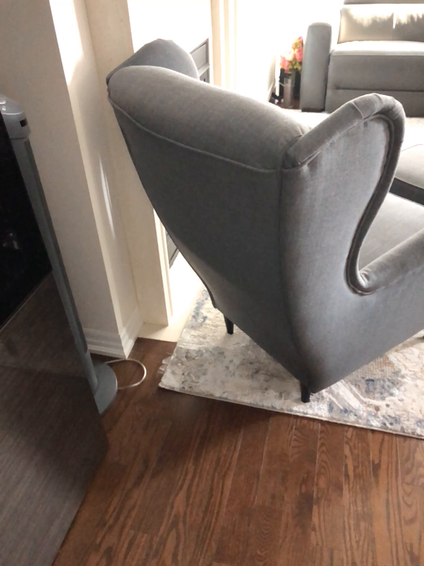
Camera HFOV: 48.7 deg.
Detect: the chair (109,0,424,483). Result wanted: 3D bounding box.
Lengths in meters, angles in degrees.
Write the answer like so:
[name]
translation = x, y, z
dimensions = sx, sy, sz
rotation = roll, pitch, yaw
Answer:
[chair]
translation = 0.343, -0.216, 1.392
dimensions = 0.851, 0.966, 0.802
rotation = -26, 43, -28
